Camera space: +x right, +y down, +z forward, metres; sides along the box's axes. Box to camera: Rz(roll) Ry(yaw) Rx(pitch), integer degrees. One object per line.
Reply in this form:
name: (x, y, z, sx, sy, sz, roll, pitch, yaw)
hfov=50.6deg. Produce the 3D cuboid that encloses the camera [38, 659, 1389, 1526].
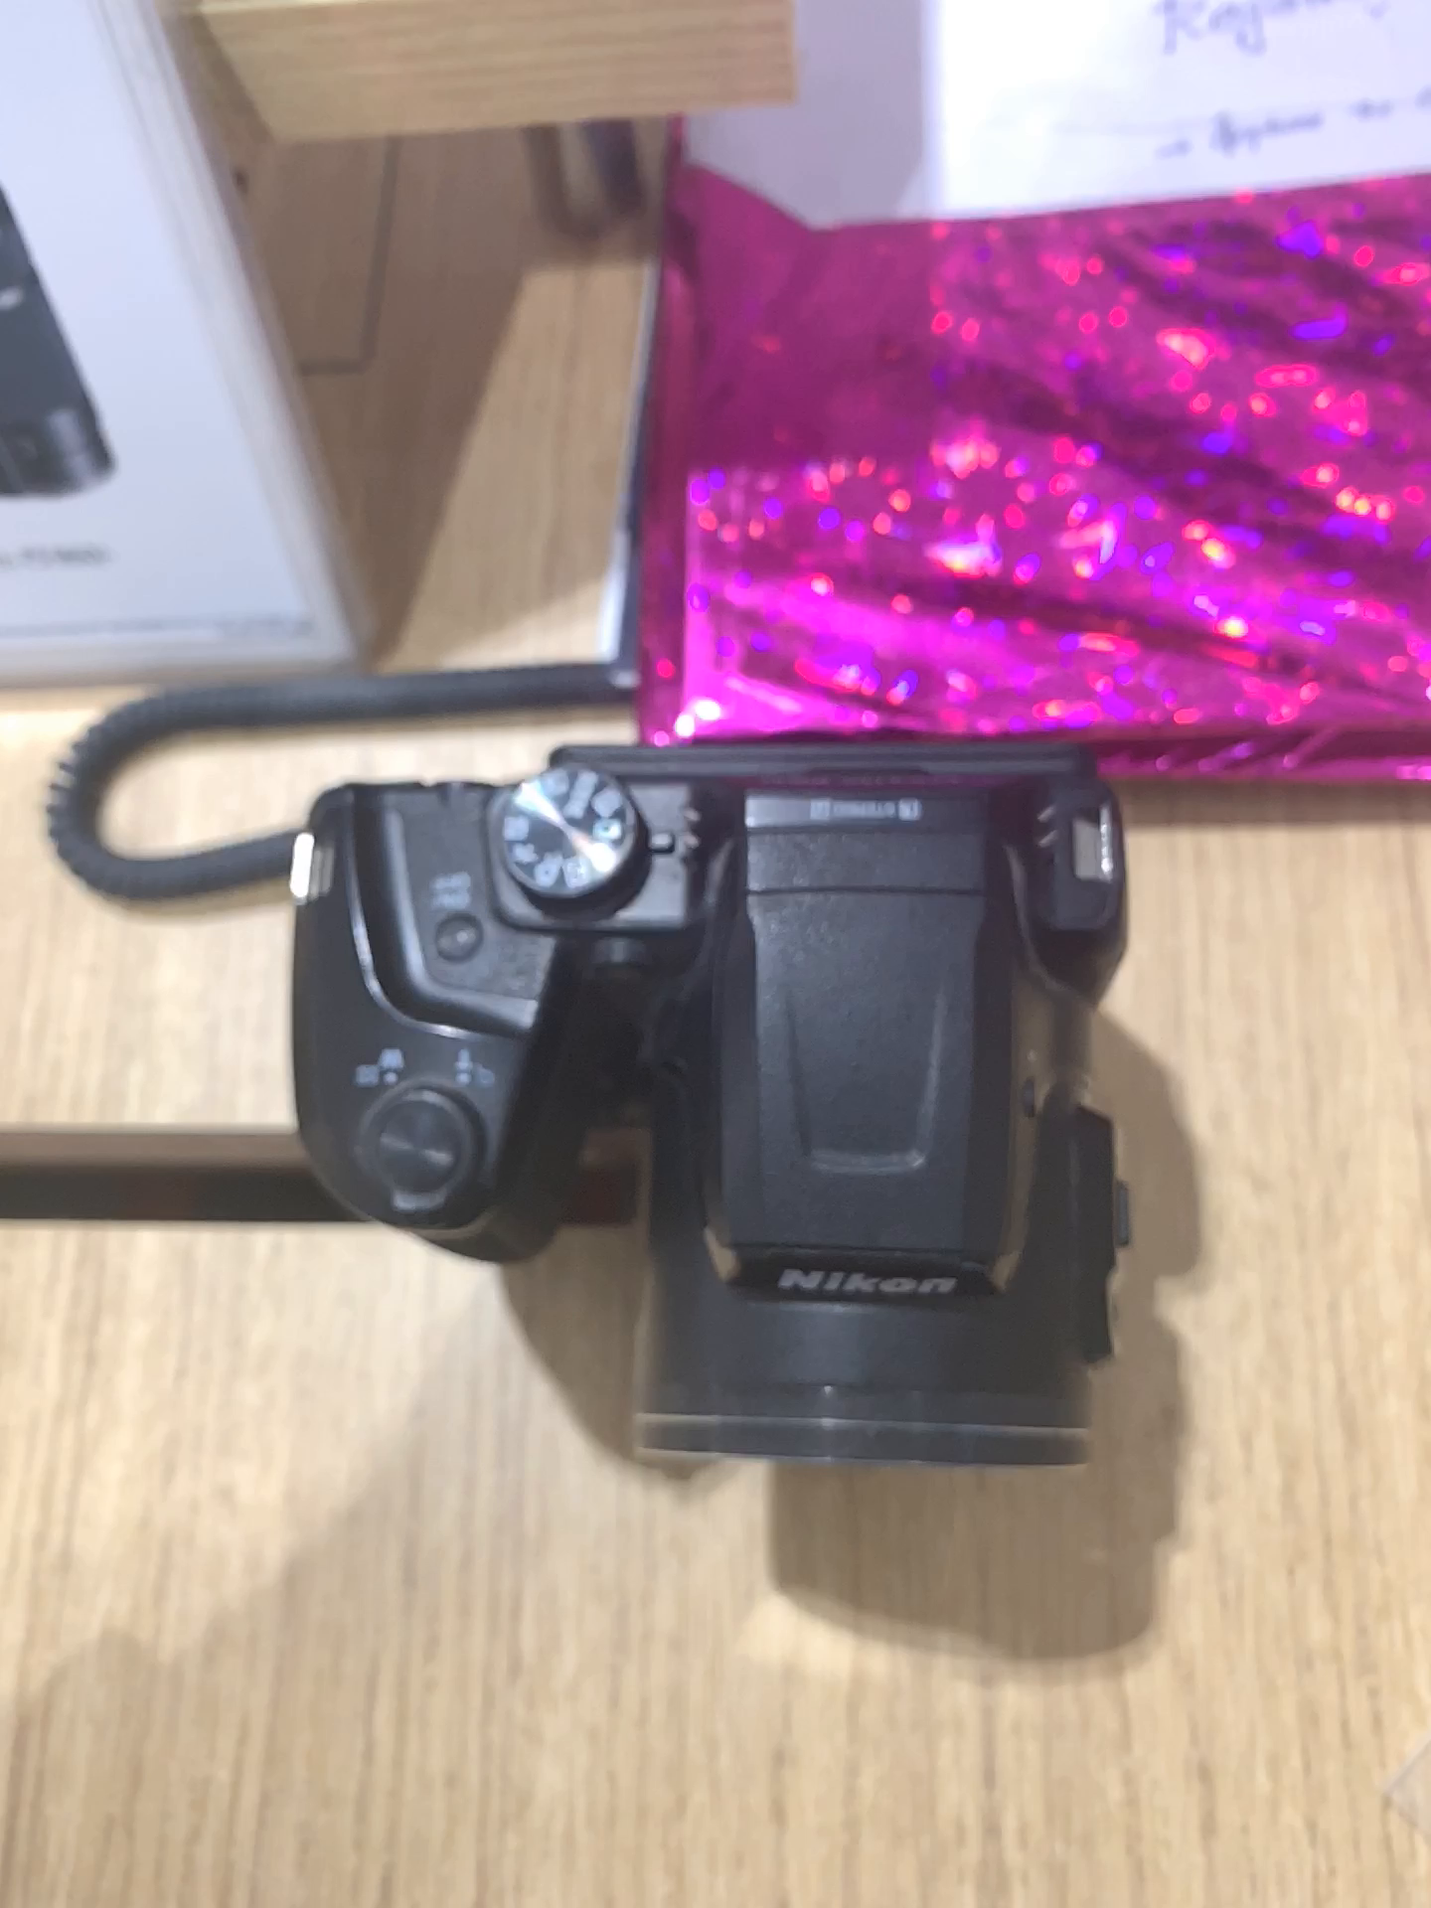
camera: (0.002, 0.024, 0.202, 0.130, 0.090, 0.090, 0, 71, 5)
